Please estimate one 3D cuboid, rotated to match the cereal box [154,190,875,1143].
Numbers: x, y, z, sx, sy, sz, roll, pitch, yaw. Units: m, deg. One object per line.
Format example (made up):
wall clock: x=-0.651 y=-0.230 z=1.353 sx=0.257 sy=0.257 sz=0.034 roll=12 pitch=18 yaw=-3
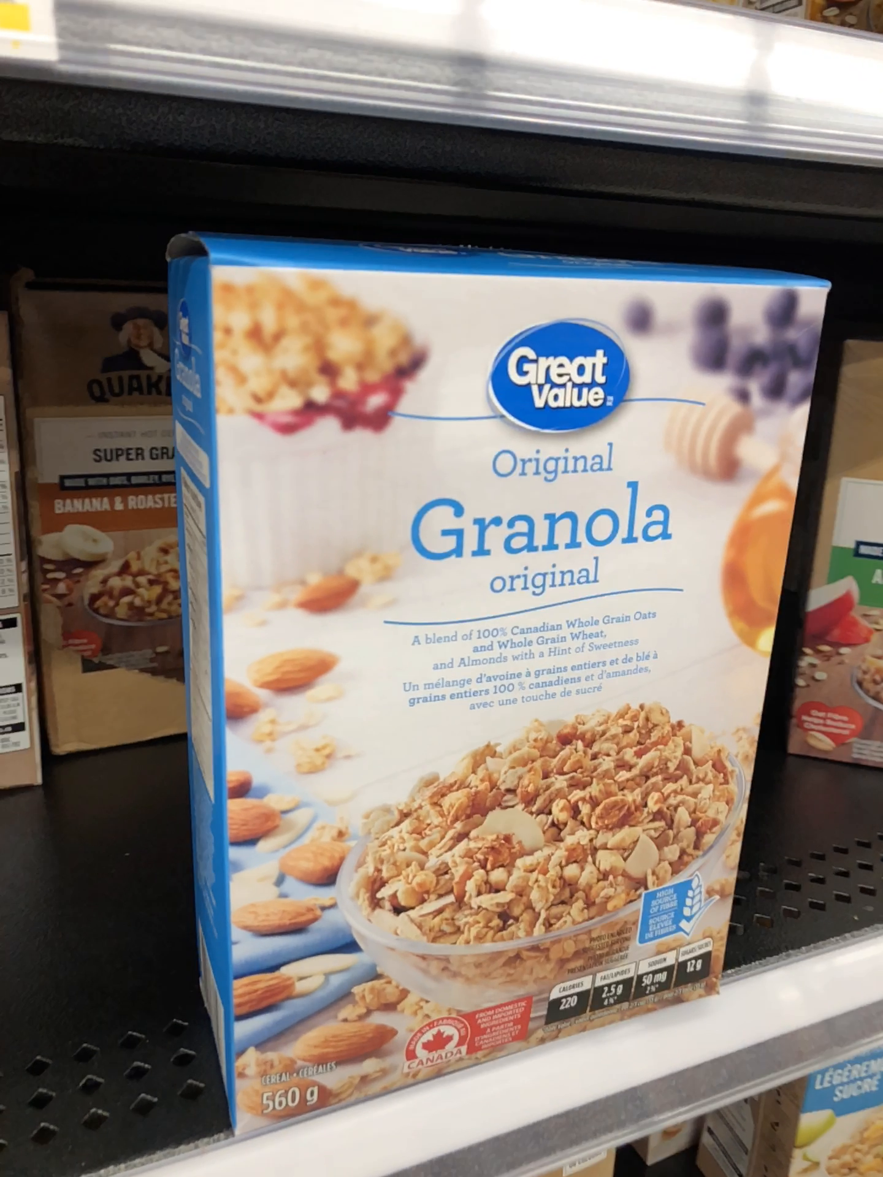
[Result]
cereal box: x=0.013 y=0.015 z=0.270 sx=0.160 sy=0.219 sz=0.070 roll=-5 pitch=19 yaw=-23
